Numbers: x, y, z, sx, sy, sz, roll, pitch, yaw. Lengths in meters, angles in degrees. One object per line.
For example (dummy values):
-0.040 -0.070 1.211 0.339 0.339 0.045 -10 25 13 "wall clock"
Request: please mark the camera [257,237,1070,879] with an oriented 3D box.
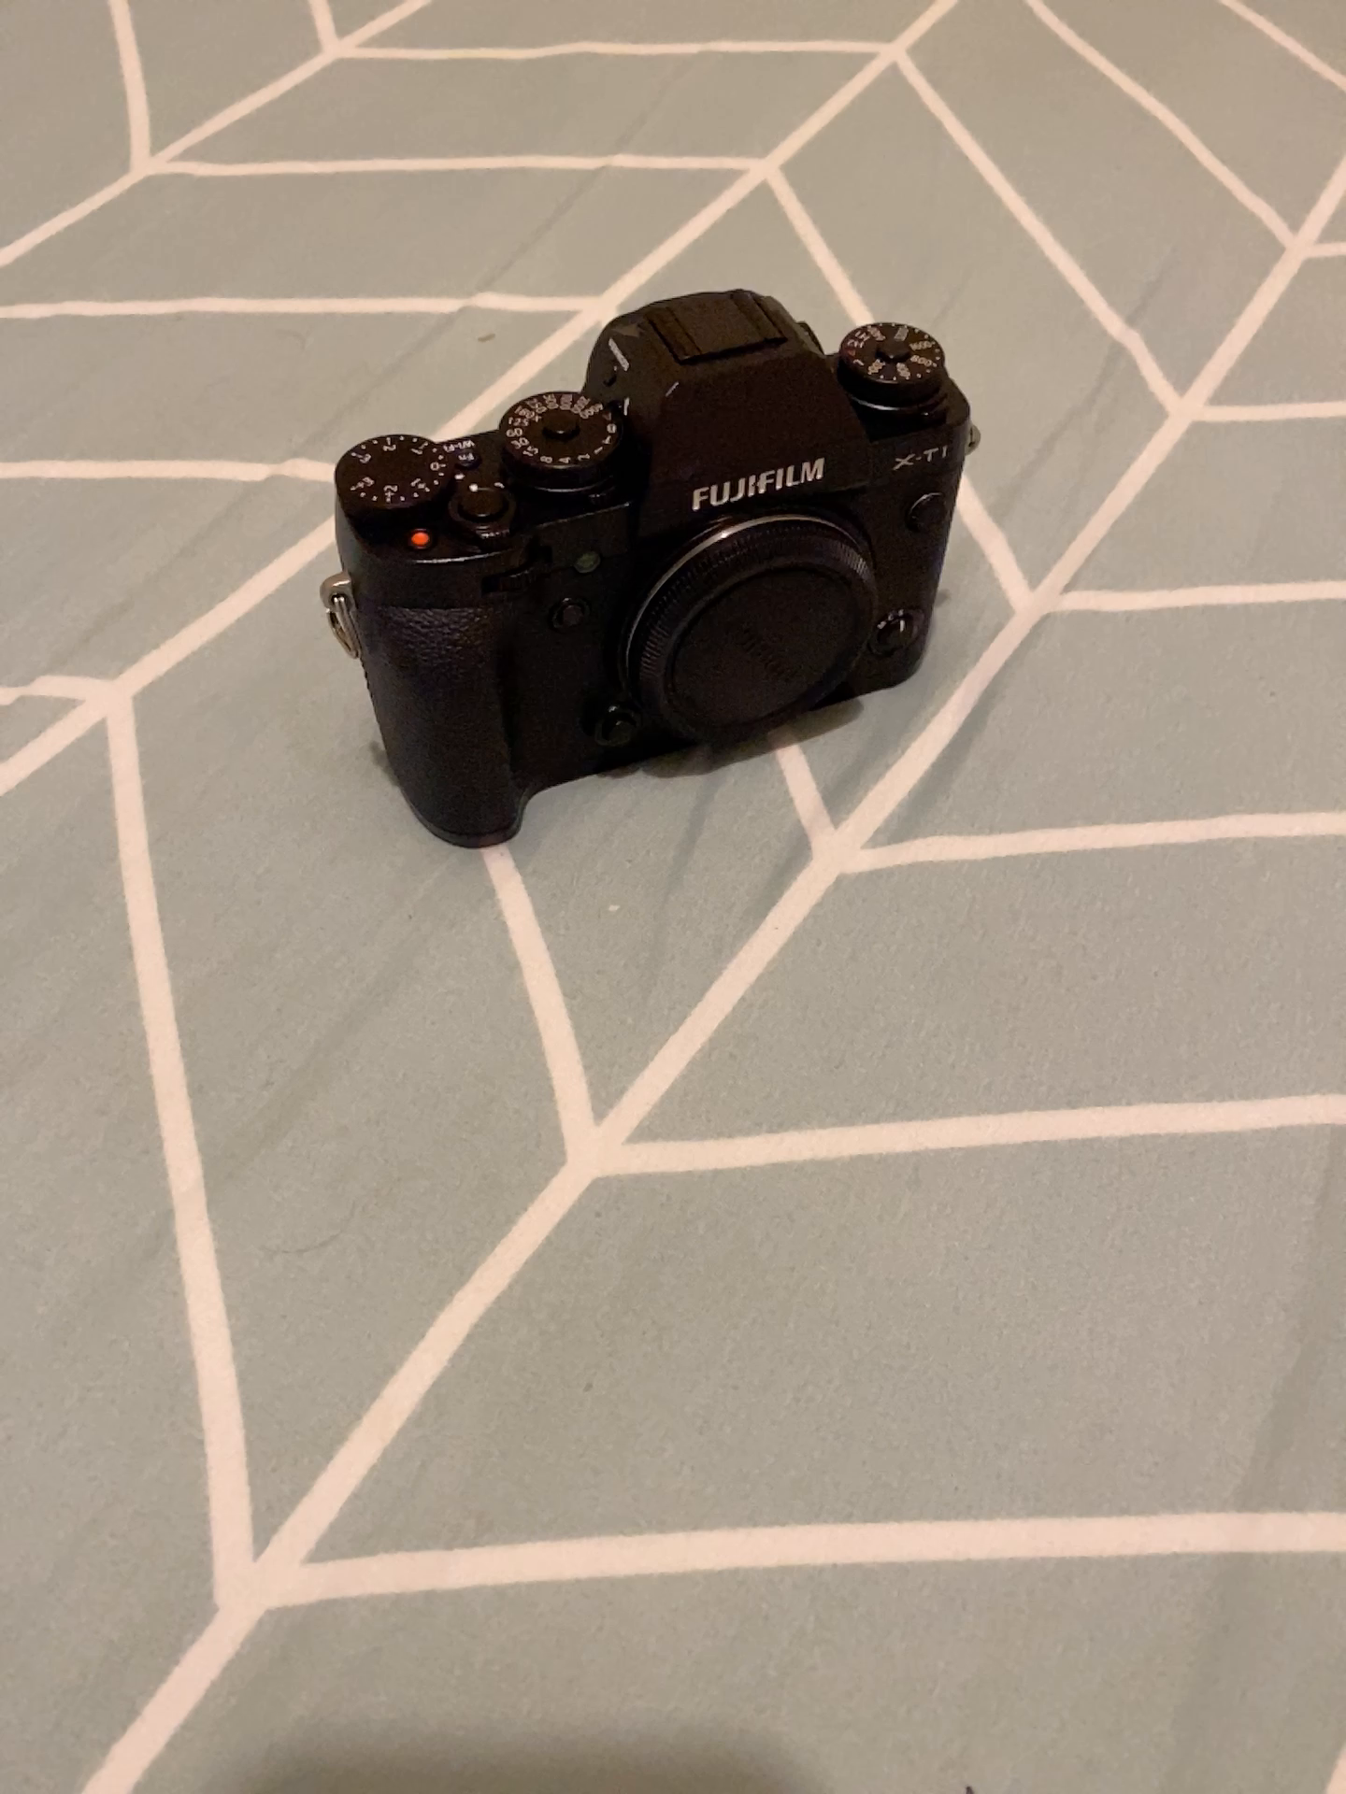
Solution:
-0.001 -0.071 0.292 0.142 0.082 0.054 -19 56 -13 "camera"
